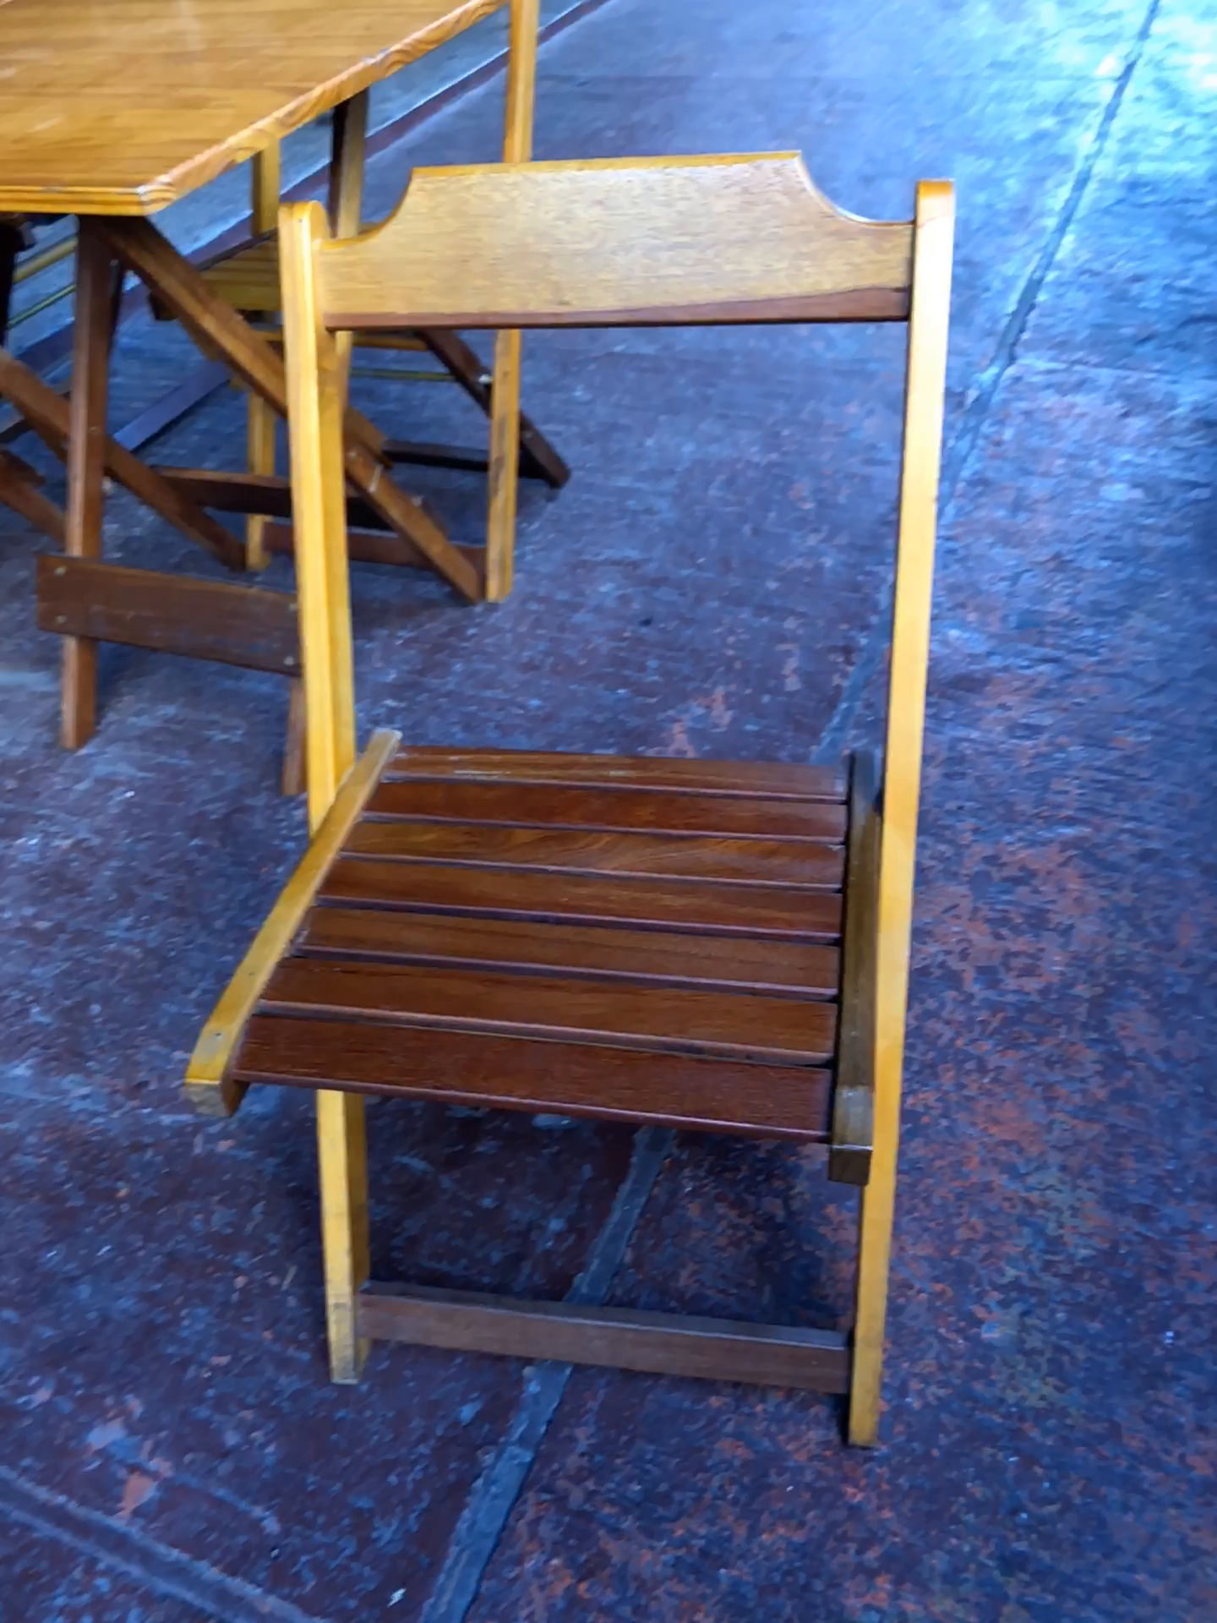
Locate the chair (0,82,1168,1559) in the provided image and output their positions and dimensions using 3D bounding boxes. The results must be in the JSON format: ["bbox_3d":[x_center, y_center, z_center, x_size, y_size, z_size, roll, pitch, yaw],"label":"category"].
[{"bbox_3d":[-0.001,0.025,0.823,0.450,0.735,0.473,4,42,10],"label":"chair"}]
